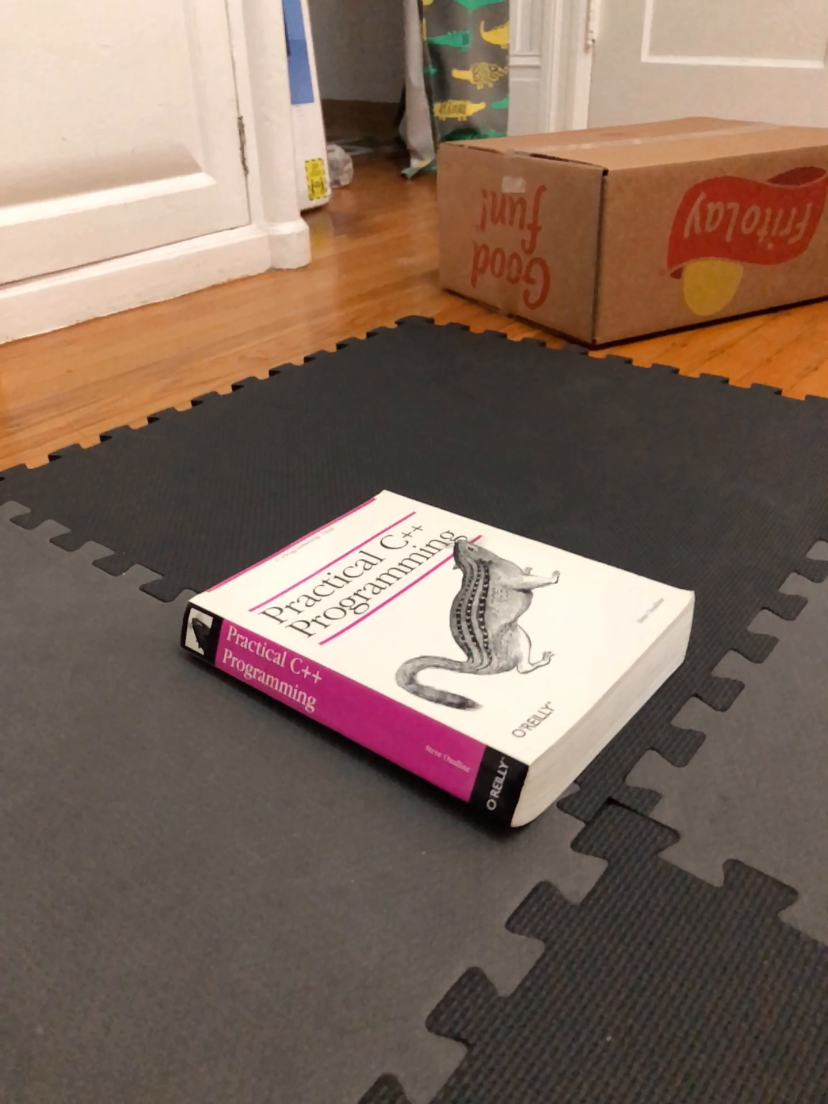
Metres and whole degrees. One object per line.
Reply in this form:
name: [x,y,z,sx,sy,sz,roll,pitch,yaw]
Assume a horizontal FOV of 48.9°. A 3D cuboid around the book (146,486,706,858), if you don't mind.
book: [0.008,0.043,0.530,0.250,0.050,0.201,20,30,32]
